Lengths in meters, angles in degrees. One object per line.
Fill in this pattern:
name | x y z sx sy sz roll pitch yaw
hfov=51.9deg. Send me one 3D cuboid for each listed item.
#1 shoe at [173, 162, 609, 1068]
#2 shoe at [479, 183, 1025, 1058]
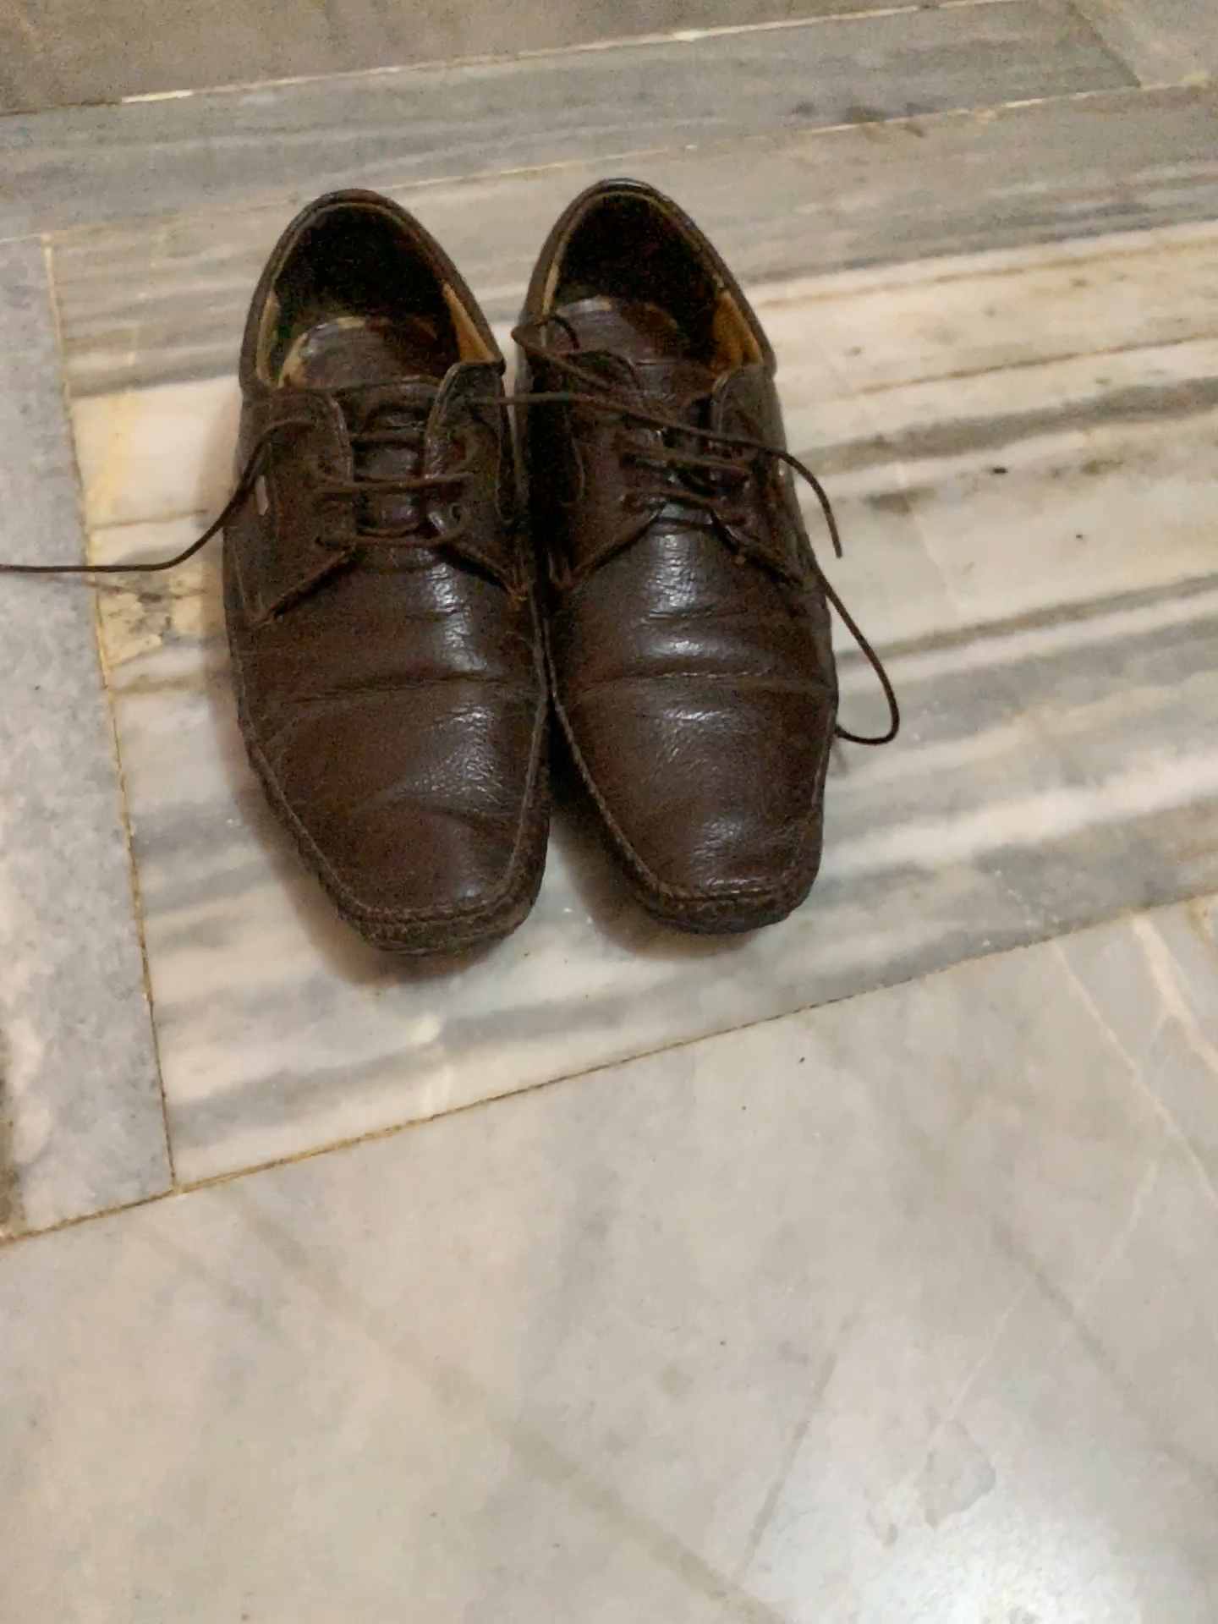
shoe | -0.078 -0.077 0.410 0.100 0.110 0.283 -7 58 -8
shoe | 0.026 -0.077 0.425 0.100 0.110 0.283 -7 58 -8
